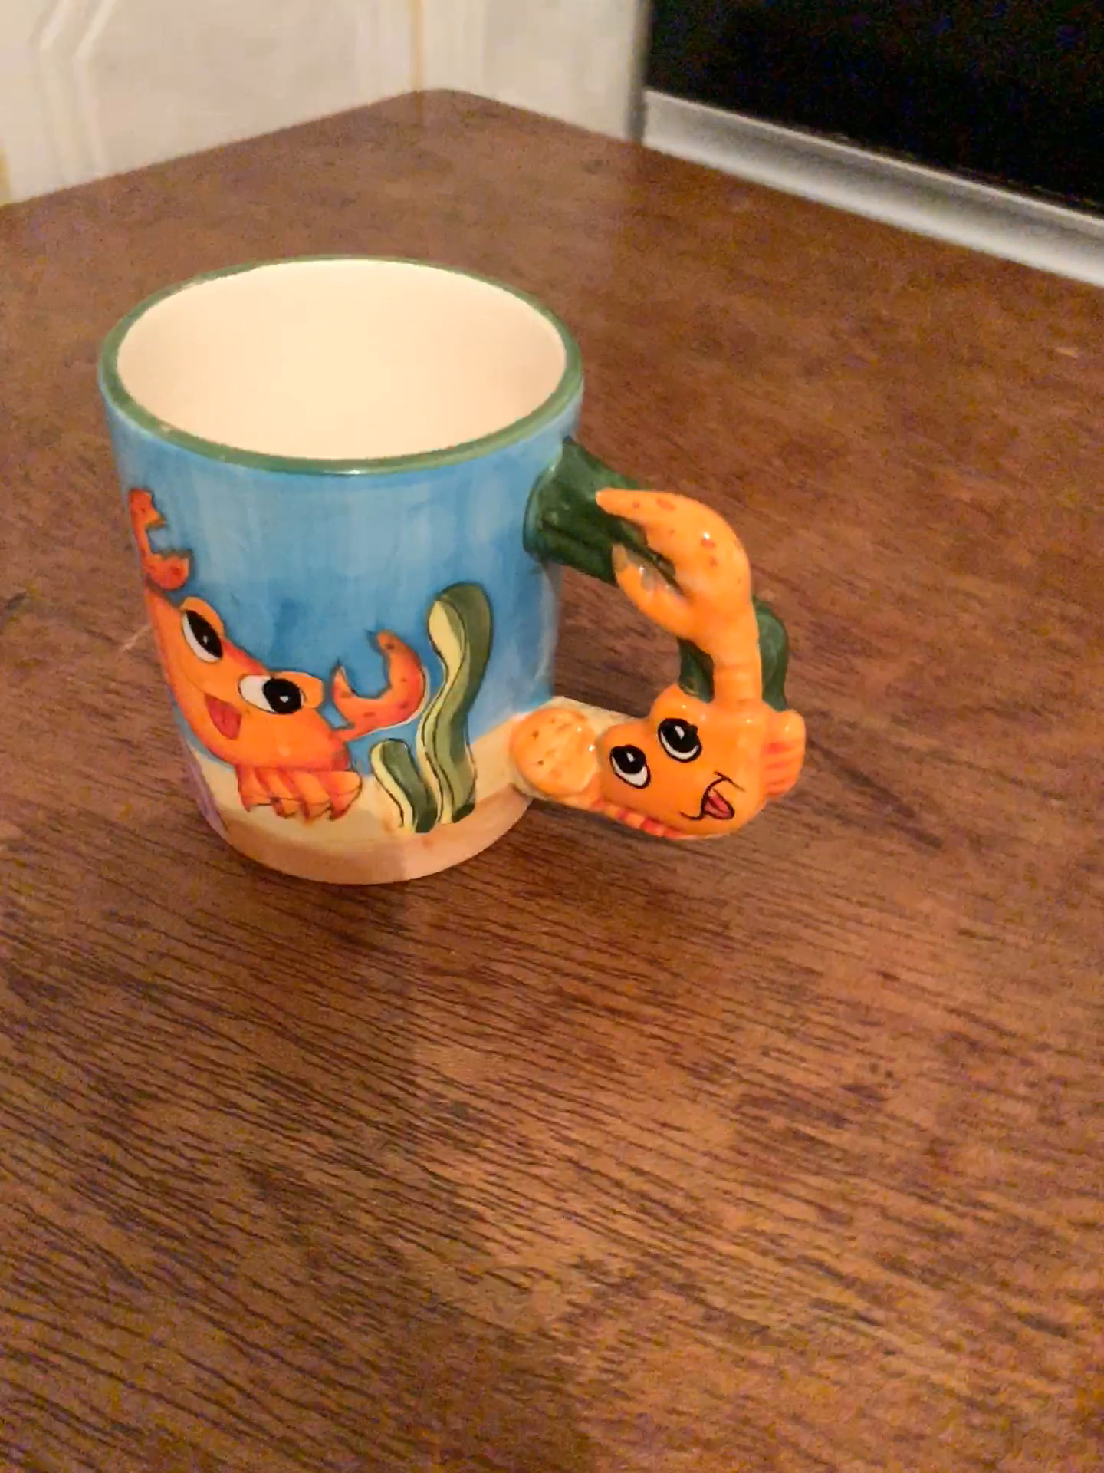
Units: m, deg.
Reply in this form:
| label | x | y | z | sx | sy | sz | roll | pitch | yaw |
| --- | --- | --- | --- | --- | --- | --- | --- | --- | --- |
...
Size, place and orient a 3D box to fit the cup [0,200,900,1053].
| label | x | y | z | sx | sy | sz | roll | pitch | yaw |
| --- | --- | --- | --- | --- | --- | --- | --- | --- | --- |
| cup | -0.020 | -0.024 | 0.216 | 0.130 | 0.099 | 0.080 | 19 | 45 | 14 |
